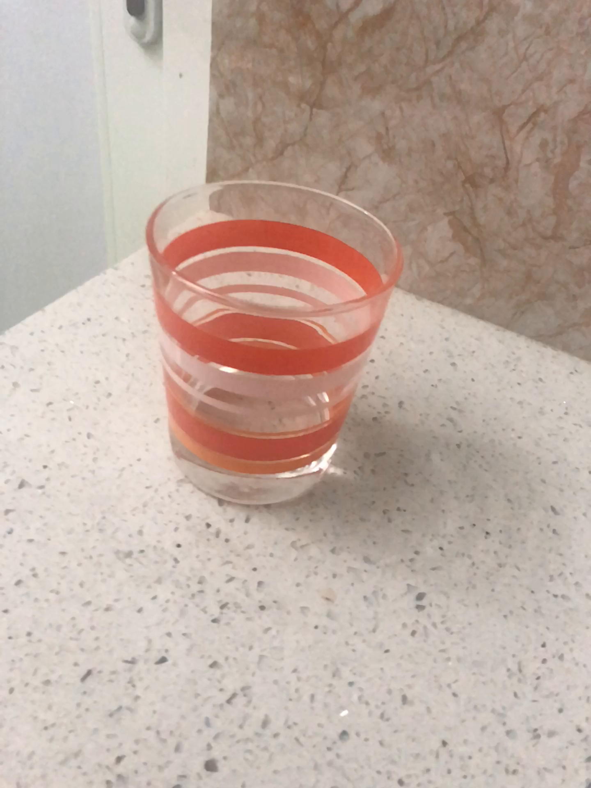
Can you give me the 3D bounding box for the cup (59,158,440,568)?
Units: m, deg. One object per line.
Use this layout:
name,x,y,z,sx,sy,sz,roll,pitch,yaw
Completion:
cup,-0.013,-0.014,0.228,0.090,0.090,0.080,19,42,11
